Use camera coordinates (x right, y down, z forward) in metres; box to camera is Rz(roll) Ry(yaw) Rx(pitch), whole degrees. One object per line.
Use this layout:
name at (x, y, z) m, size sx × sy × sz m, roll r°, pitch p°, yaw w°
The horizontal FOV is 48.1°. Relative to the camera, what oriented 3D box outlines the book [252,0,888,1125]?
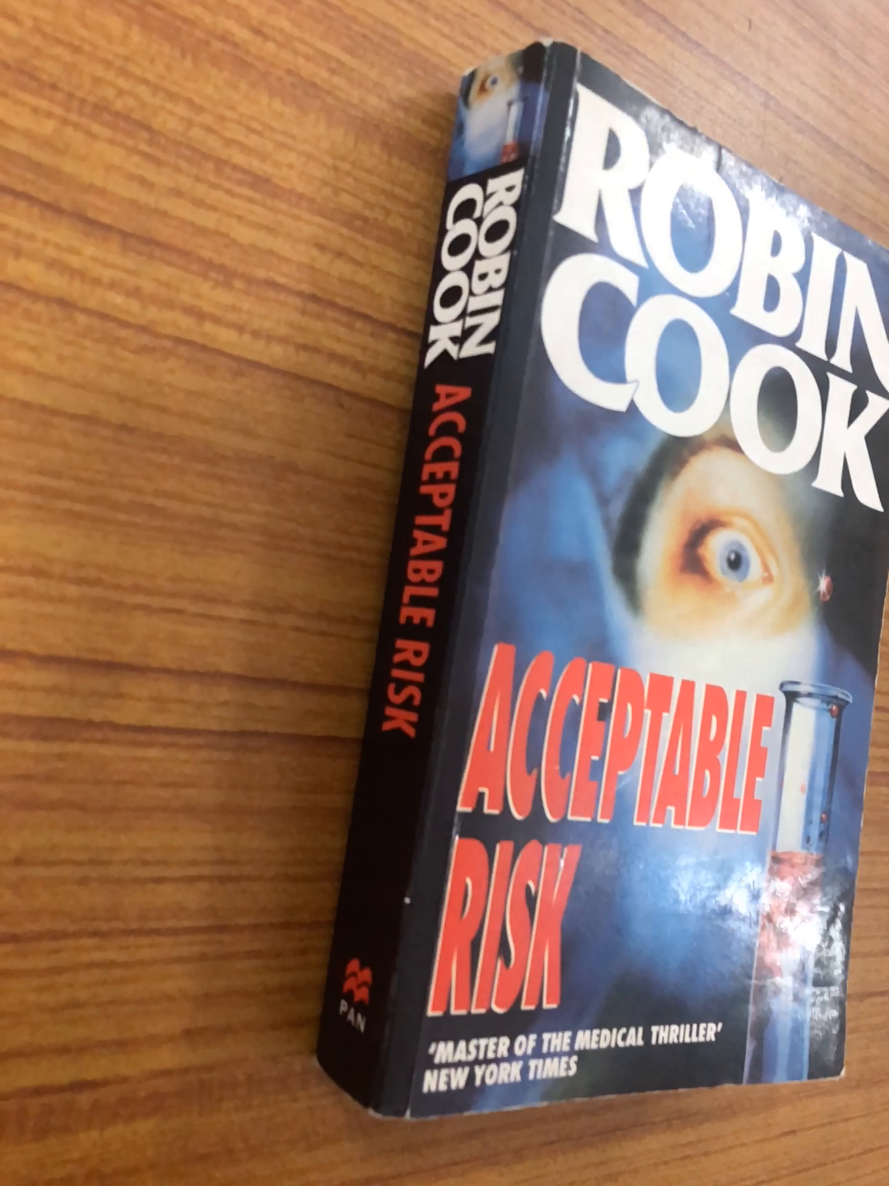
book at (0.037, 0.002, 0.195) m, size 0.110 × 0.040 × 0.170 m, roll 14°, pitch 84°, yaw -34°
